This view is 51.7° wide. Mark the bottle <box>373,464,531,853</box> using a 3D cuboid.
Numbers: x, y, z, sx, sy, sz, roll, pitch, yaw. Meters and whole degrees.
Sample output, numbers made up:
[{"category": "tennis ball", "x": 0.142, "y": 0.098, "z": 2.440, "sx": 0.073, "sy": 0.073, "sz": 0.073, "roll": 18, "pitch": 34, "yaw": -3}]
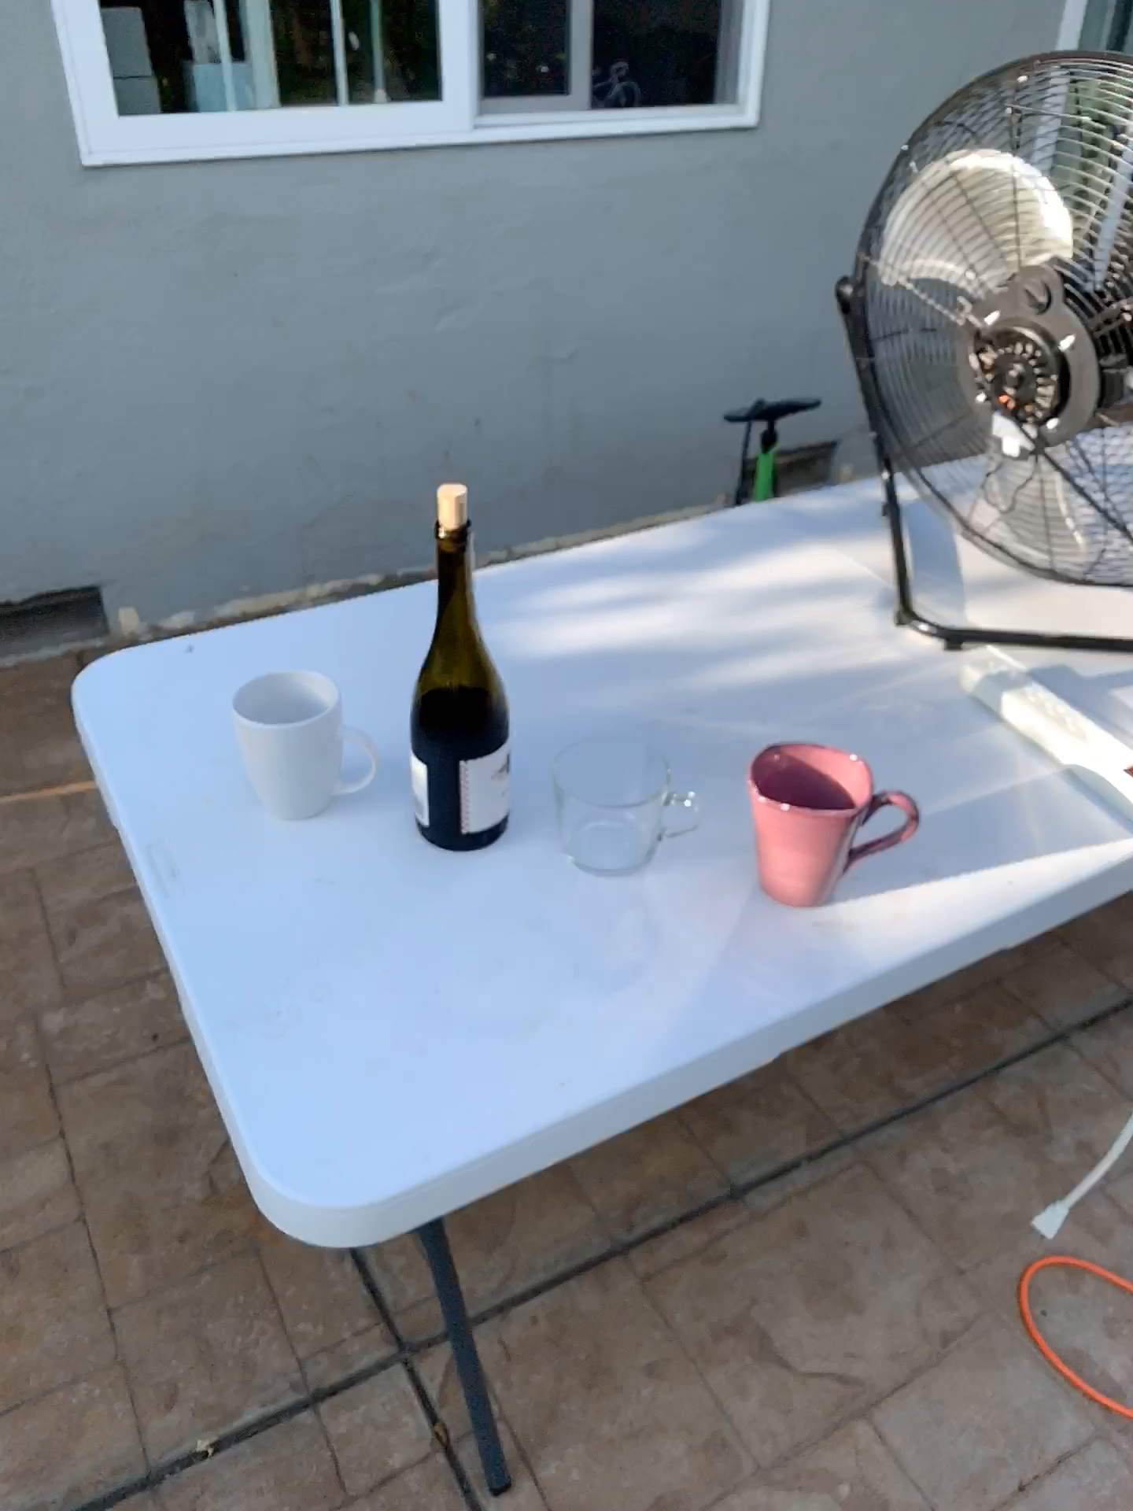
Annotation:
[{"category": "bottle", "x": -0.086, "y": -0.074, "z": 0.969, "sx": 0.101, "sy": 0.303, "sz": 0.103, "roll": 1, "pitch": 35, "yaw": -1}]
